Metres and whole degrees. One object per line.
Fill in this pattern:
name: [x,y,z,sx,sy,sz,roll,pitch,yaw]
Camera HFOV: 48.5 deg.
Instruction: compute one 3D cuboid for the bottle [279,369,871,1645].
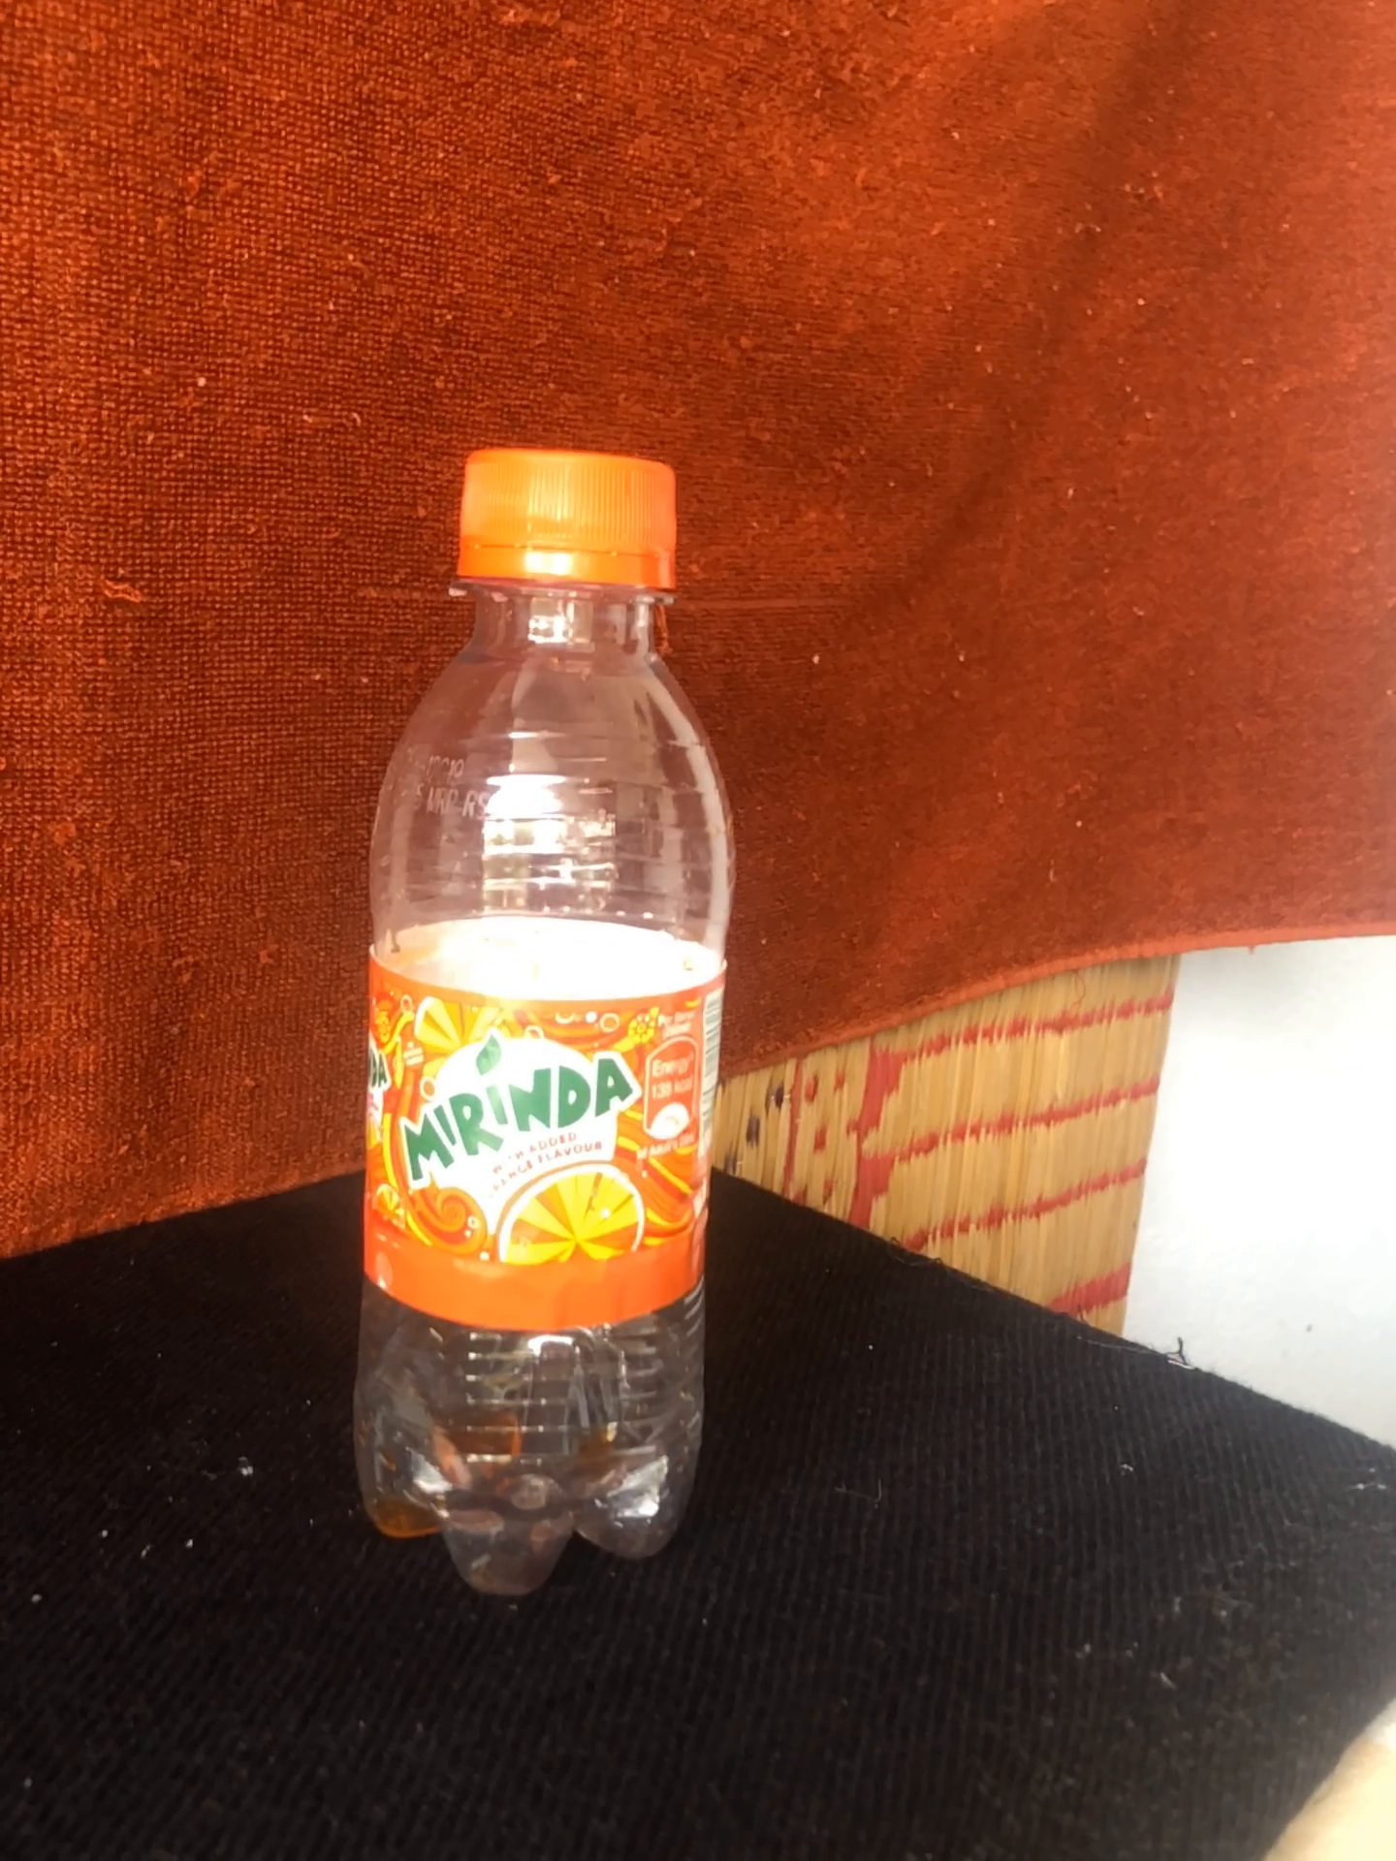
bottle: [-0.017,0.010,0.221,0.060,0.160,0.050,8,12,6]
